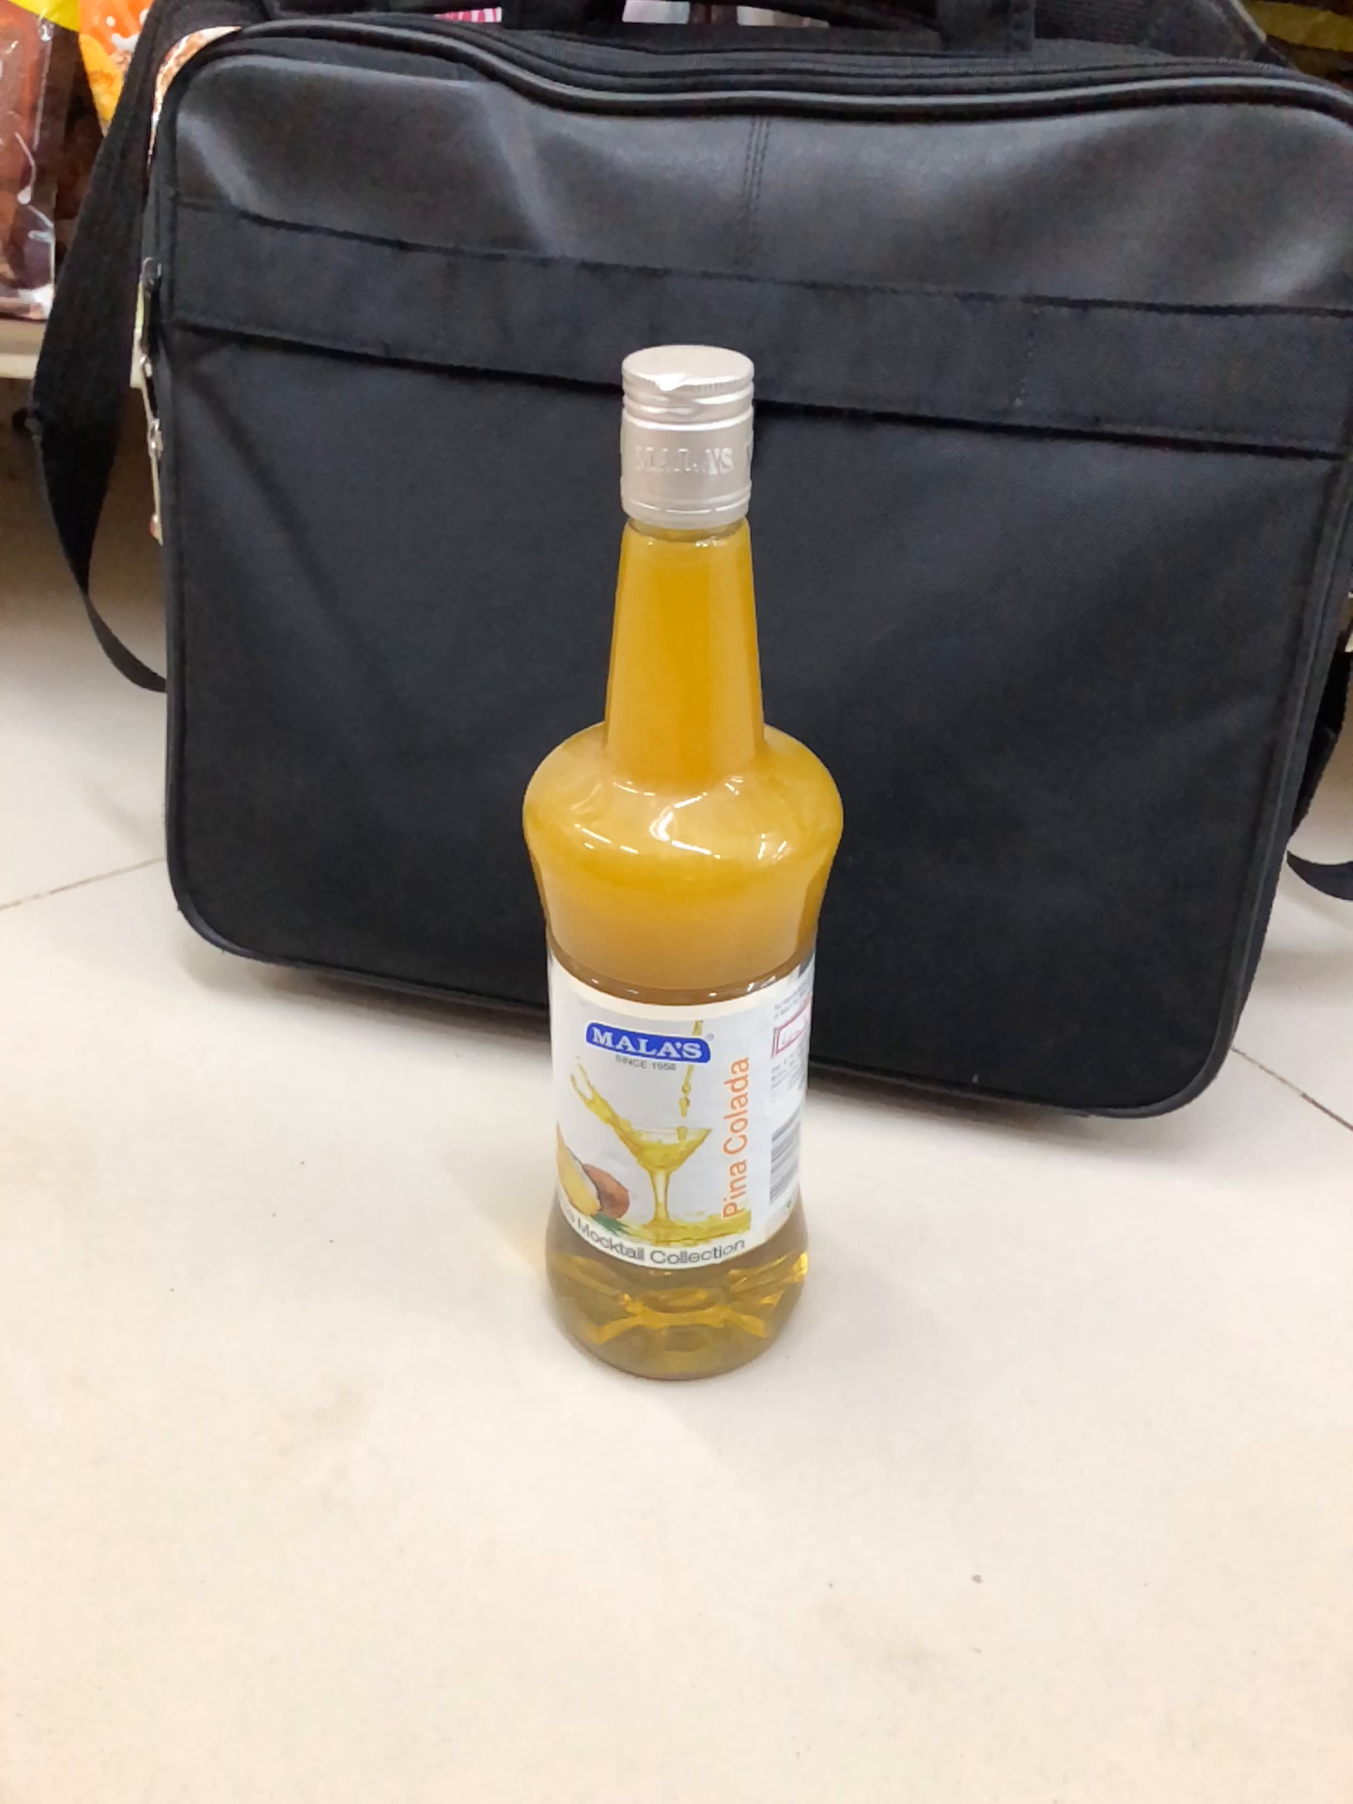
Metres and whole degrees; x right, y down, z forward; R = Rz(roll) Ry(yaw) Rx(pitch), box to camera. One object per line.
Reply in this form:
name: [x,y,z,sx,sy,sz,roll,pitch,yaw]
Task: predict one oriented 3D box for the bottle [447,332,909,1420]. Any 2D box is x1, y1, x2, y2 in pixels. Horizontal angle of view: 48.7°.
bottle: [0.002,0.009,0.403,0.090,0.288,0.081,5,34,6]
